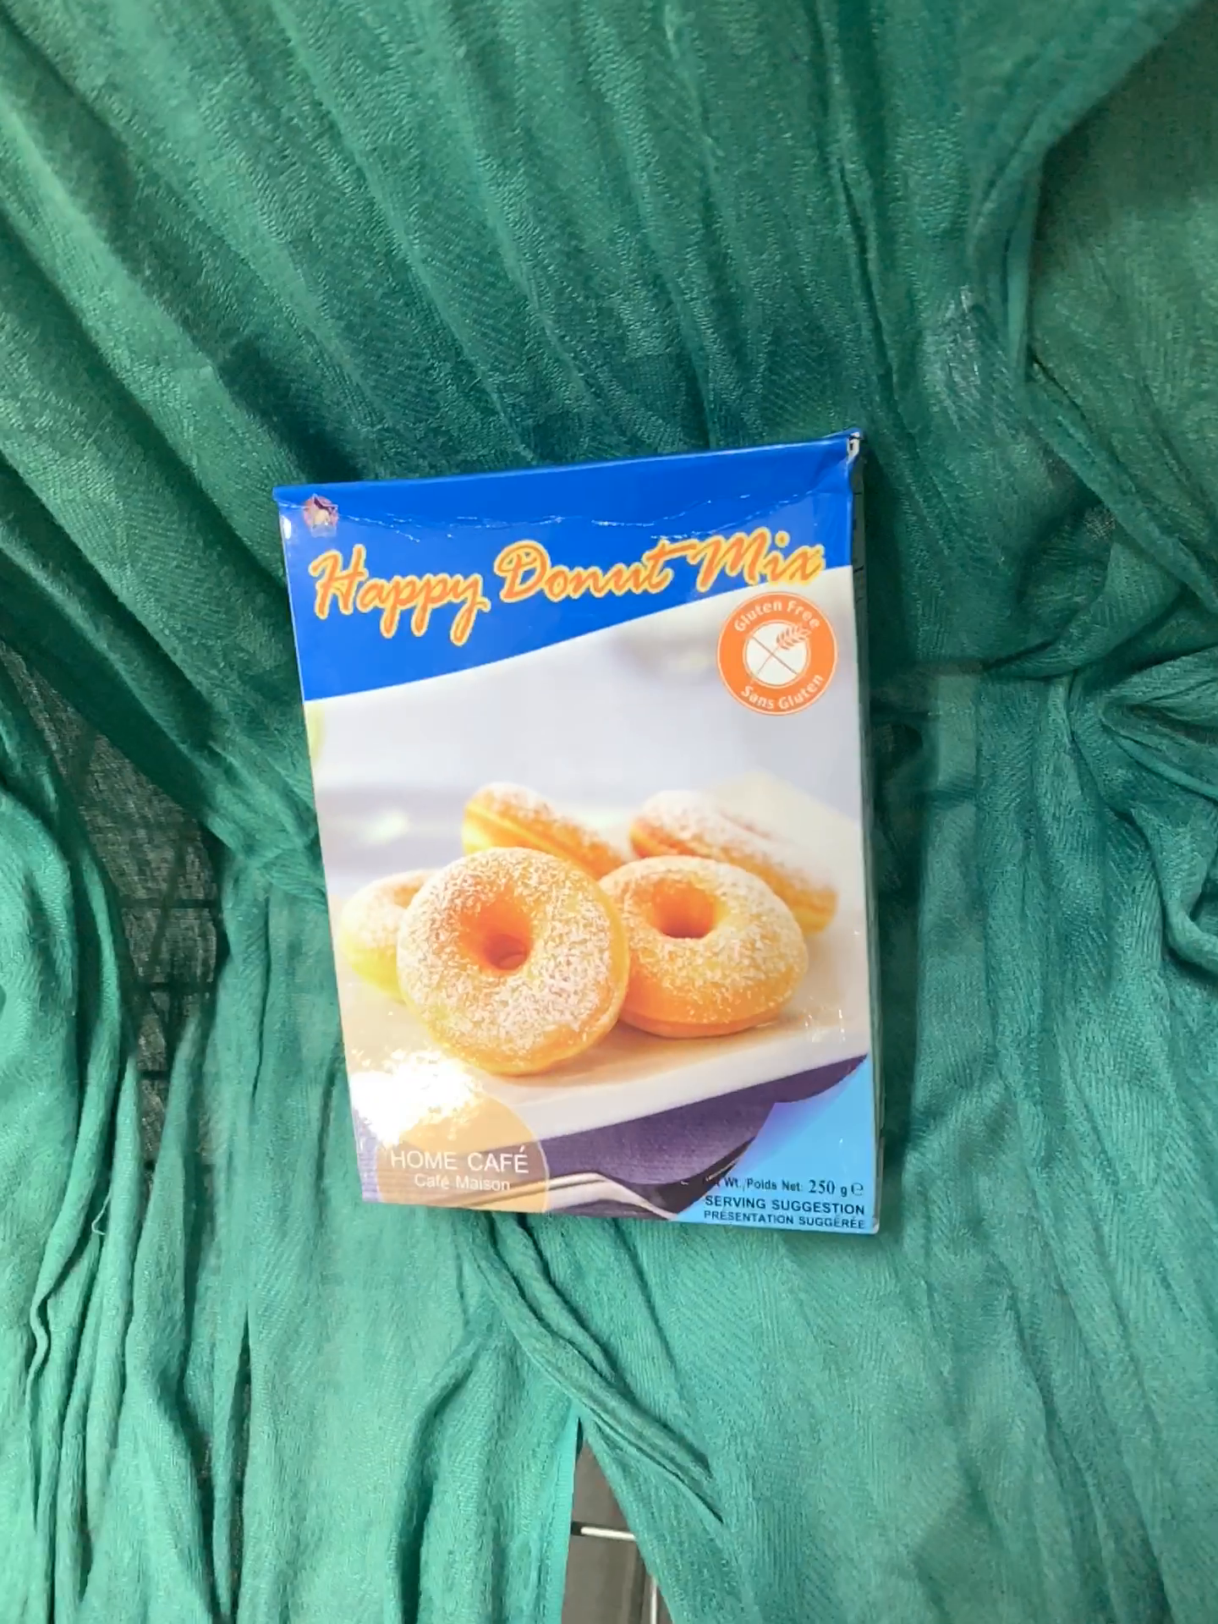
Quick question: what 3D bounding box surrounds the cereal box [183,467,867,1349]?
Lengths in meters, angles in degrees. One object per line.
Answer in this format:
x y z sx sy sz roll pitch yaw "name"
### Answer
-0.011 0.020 0.289 0.130 0.060 0.180 -2 102 14 "cereal box"
